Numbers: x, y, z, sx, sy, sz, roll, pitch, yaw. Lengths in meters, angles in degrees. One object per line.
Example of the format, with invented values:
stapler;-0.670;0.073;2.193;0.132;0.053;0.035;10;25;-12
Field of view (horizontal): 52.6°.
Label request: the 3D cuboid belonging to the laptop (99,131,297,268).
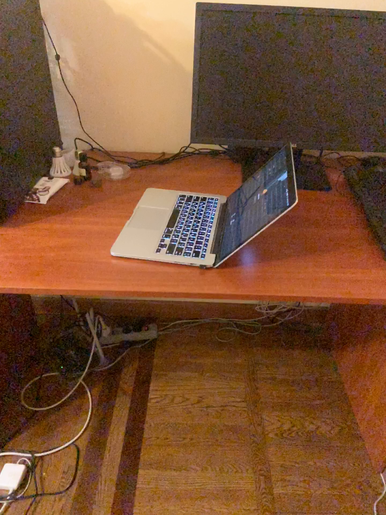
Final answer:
laptop;0.025;-0.135;0.804;0.333;0.139;0.287;5;37;7
